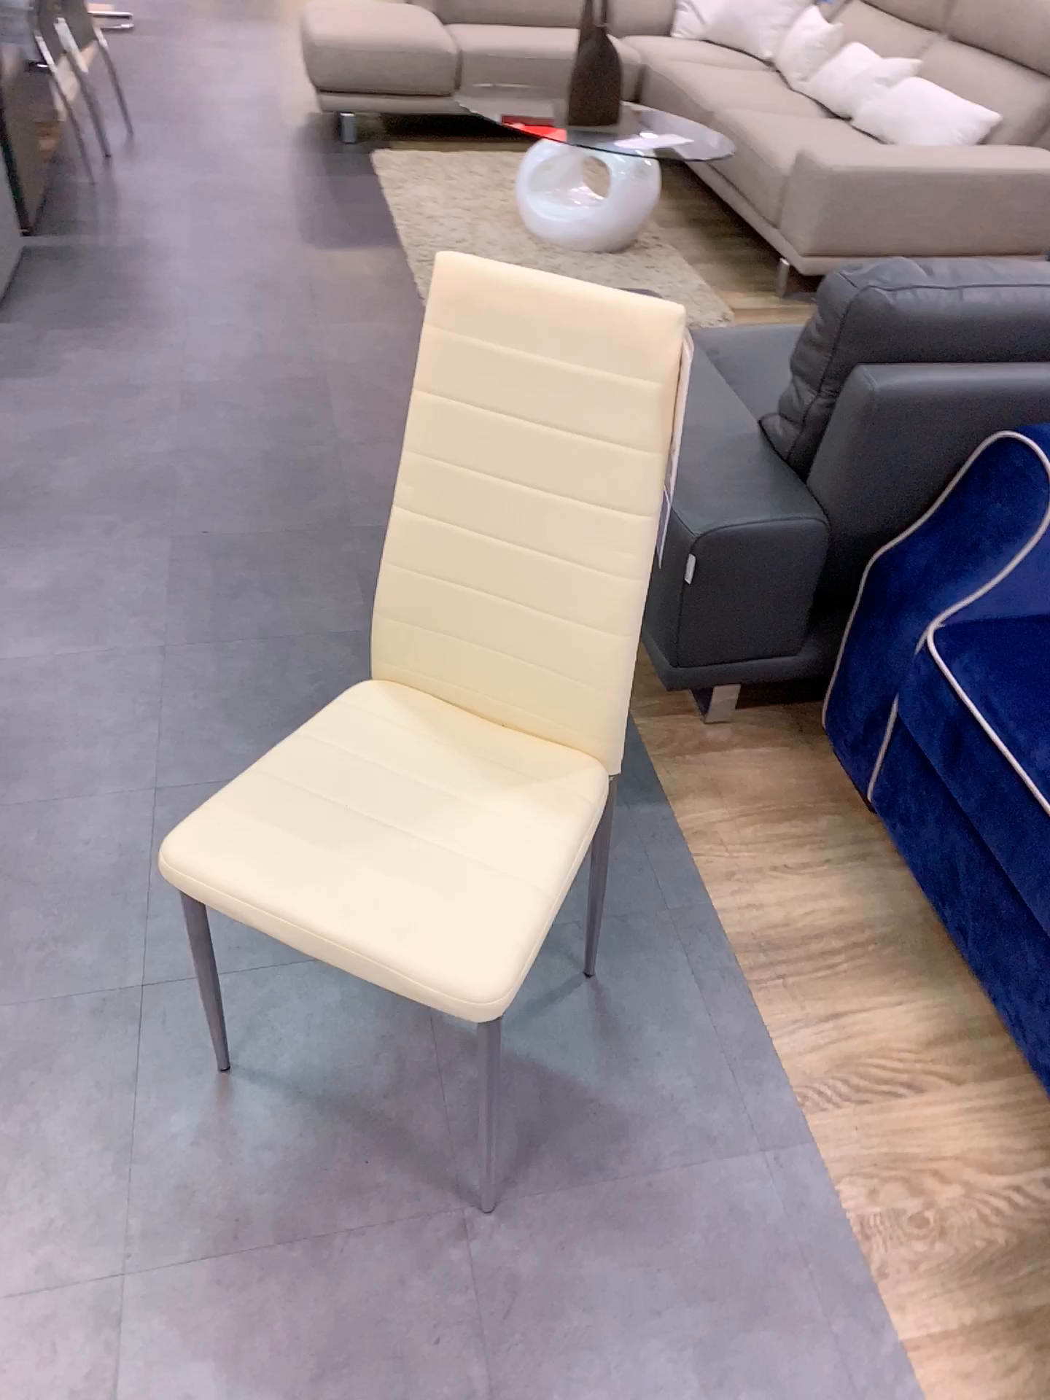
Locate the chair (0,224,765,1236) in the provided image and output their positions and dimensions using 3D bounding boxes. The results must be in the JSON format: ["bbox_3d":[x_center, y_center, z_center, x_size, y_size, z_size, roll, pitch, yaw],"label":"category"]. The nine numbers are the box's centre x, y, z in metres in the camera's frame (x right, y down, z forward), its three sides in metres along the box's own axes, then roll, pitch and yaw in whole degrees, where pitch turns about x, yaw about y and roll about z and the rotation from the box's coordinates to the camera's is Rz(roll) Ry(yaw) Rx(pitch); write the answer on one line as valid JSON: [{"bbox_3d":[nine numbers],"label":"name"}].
[{"bbox_3d":[-0.110,0.066,1.196,0.445,0.940,0.480,20,43,18],"label":"chair"}]
